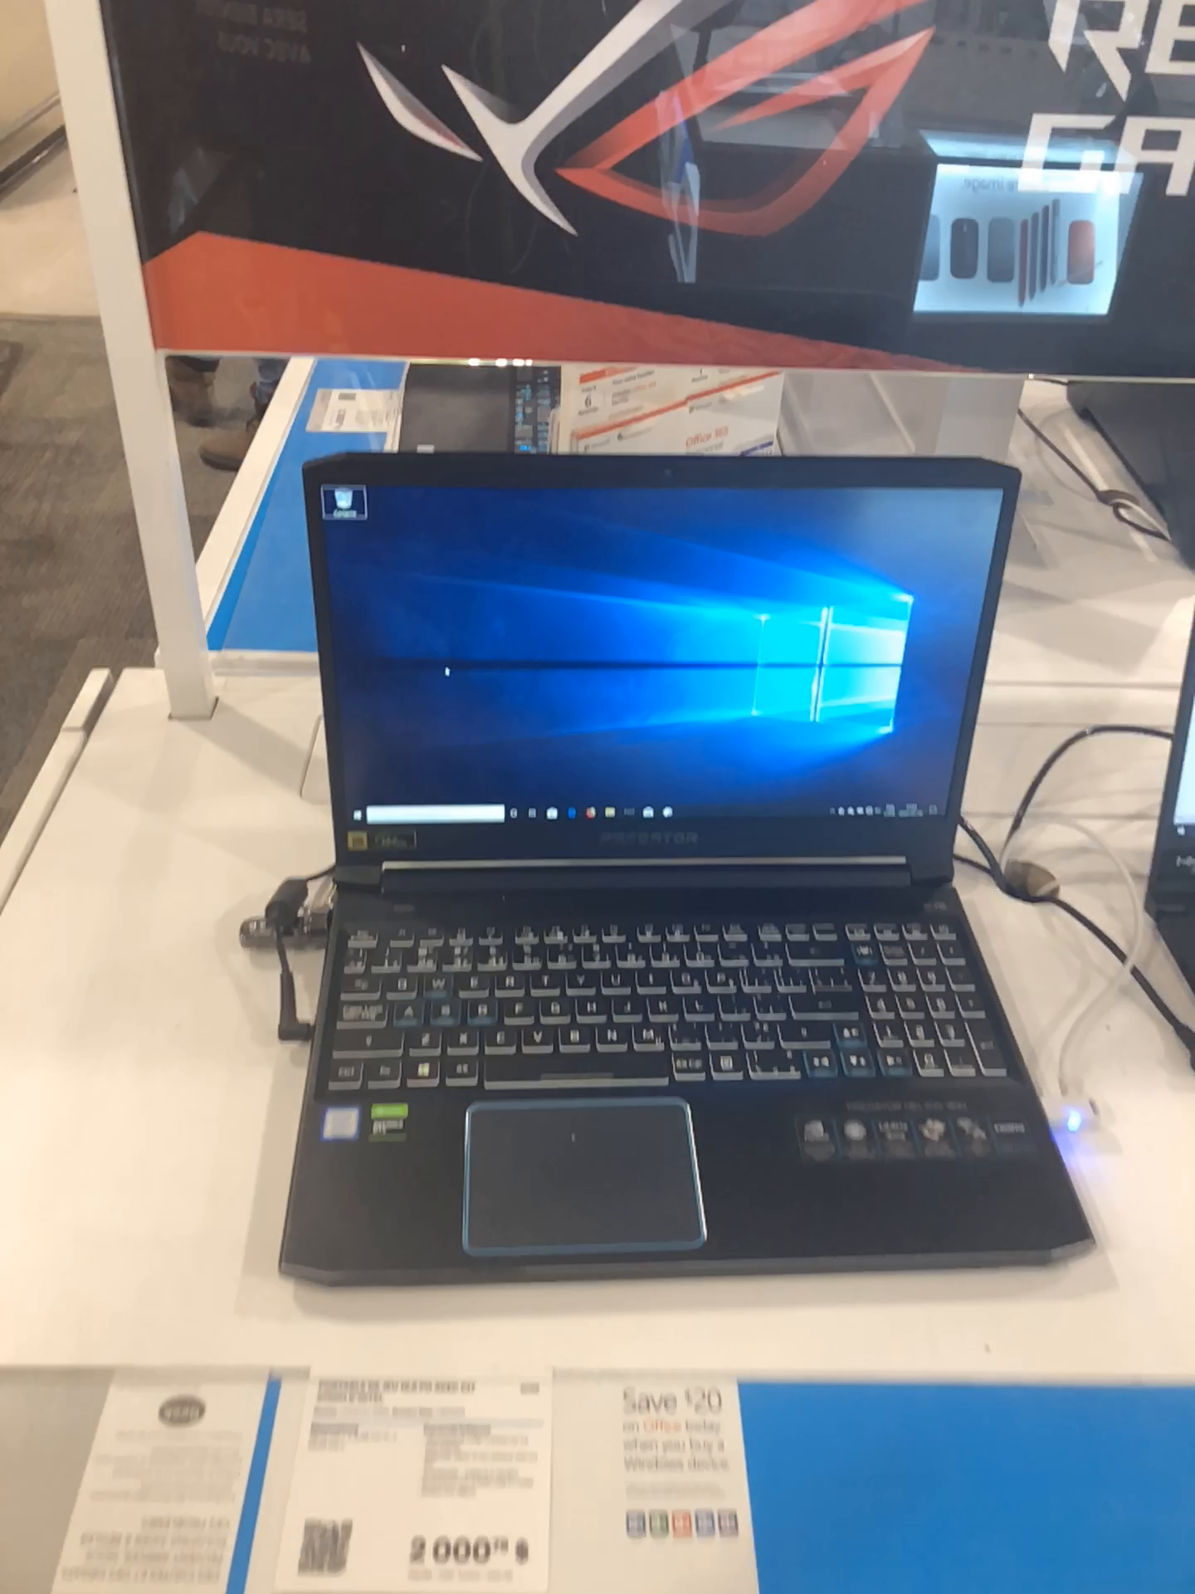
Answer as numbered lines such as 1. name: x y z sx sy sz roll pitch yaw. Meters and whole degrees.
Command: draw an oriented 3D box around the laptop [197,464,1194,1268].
1. laptop: 0.038 0.019 0.598 0.348 0.230 0.274 -1 39 -3
